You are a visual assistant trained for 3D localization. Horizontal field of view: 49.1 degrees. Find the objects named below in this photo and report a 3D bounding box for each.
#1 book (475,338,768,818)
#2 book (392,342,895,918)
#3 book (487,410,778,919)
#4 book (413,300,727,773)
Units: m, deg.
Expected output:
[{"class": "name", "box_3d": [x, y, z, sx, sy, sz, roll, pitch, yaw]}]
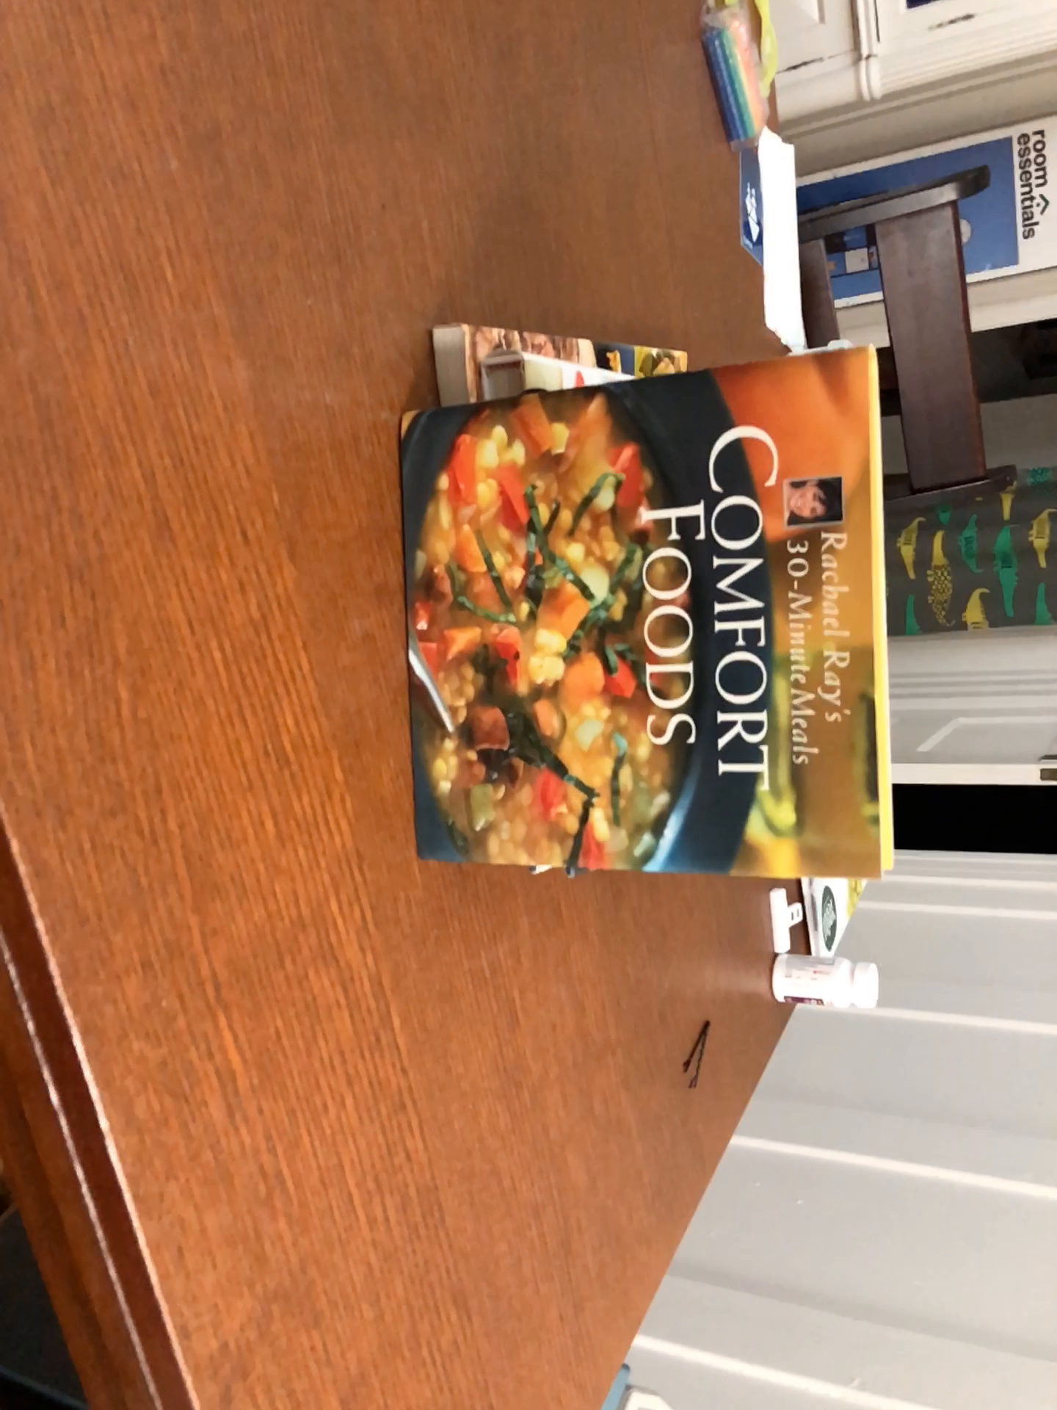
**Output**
[{"class": "book", "box_3d": [0.069, -0.077, 0.659, 0.282, 0.030, 0.220, -17, 103, -59]}, {"class": "book", "box_3d": [0.041, -0.027, 0.483, 0.030, 0.209, 0.210, -3, 92, -63]}, {"class": "book", "box_3d": [0.071, -0.025, 0.630, 0.282, 0.030, 0.220, -7, 95, -59]}, {"class": "book", "box_3d": [0.041, -0.102, 0.667, 0.282, 0.030, 0.220, -21, 107, -58]}]
